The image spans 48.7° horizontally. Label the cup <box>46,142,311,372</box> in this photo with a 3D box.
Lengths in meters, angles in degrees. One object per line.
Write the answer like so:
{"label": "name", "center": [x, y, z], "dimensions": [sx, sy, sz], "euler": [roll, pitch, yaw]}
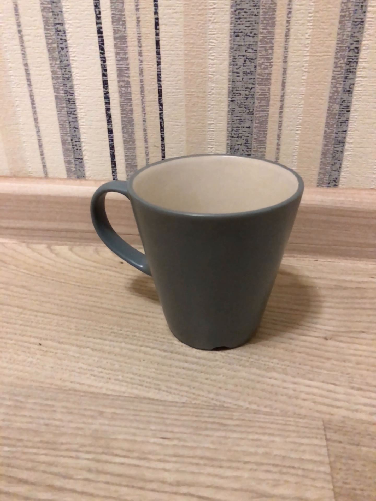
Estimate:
{"label": "cup", "center": [0.001, -0.007, 0.257], "dimensions": [0.124, 0.089, 0.096], "euler": [10, 30, 18]}
